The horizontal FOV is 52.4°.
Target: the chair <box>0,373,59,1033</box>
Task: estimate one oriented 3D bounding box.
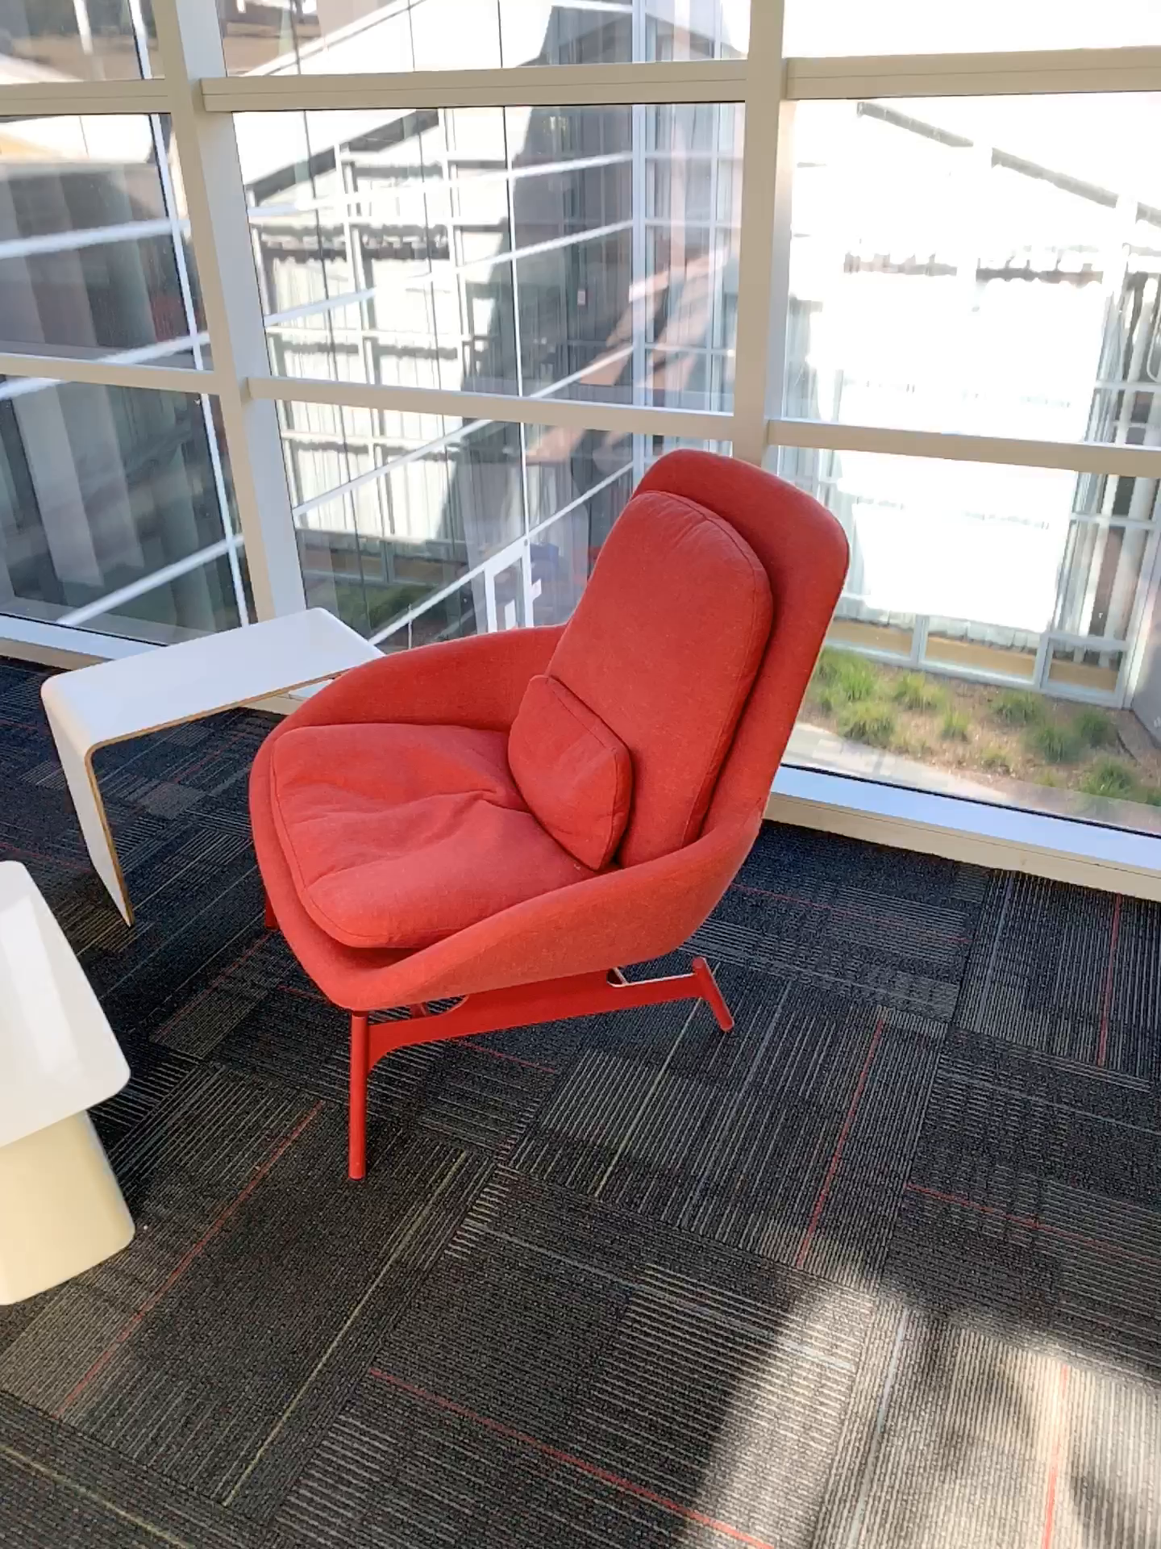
[{"bbox_3d":[-1.818,-0.224,2.638,0.869,1.054,0.825,-17,33,-24],"label":"chair"}]

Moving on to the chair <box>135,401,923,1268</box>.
[{"bbox_3d":[-0.121,0.007,2.049,0.919,0.994,0.876,-16,33,-23],"label":"chair"}]
